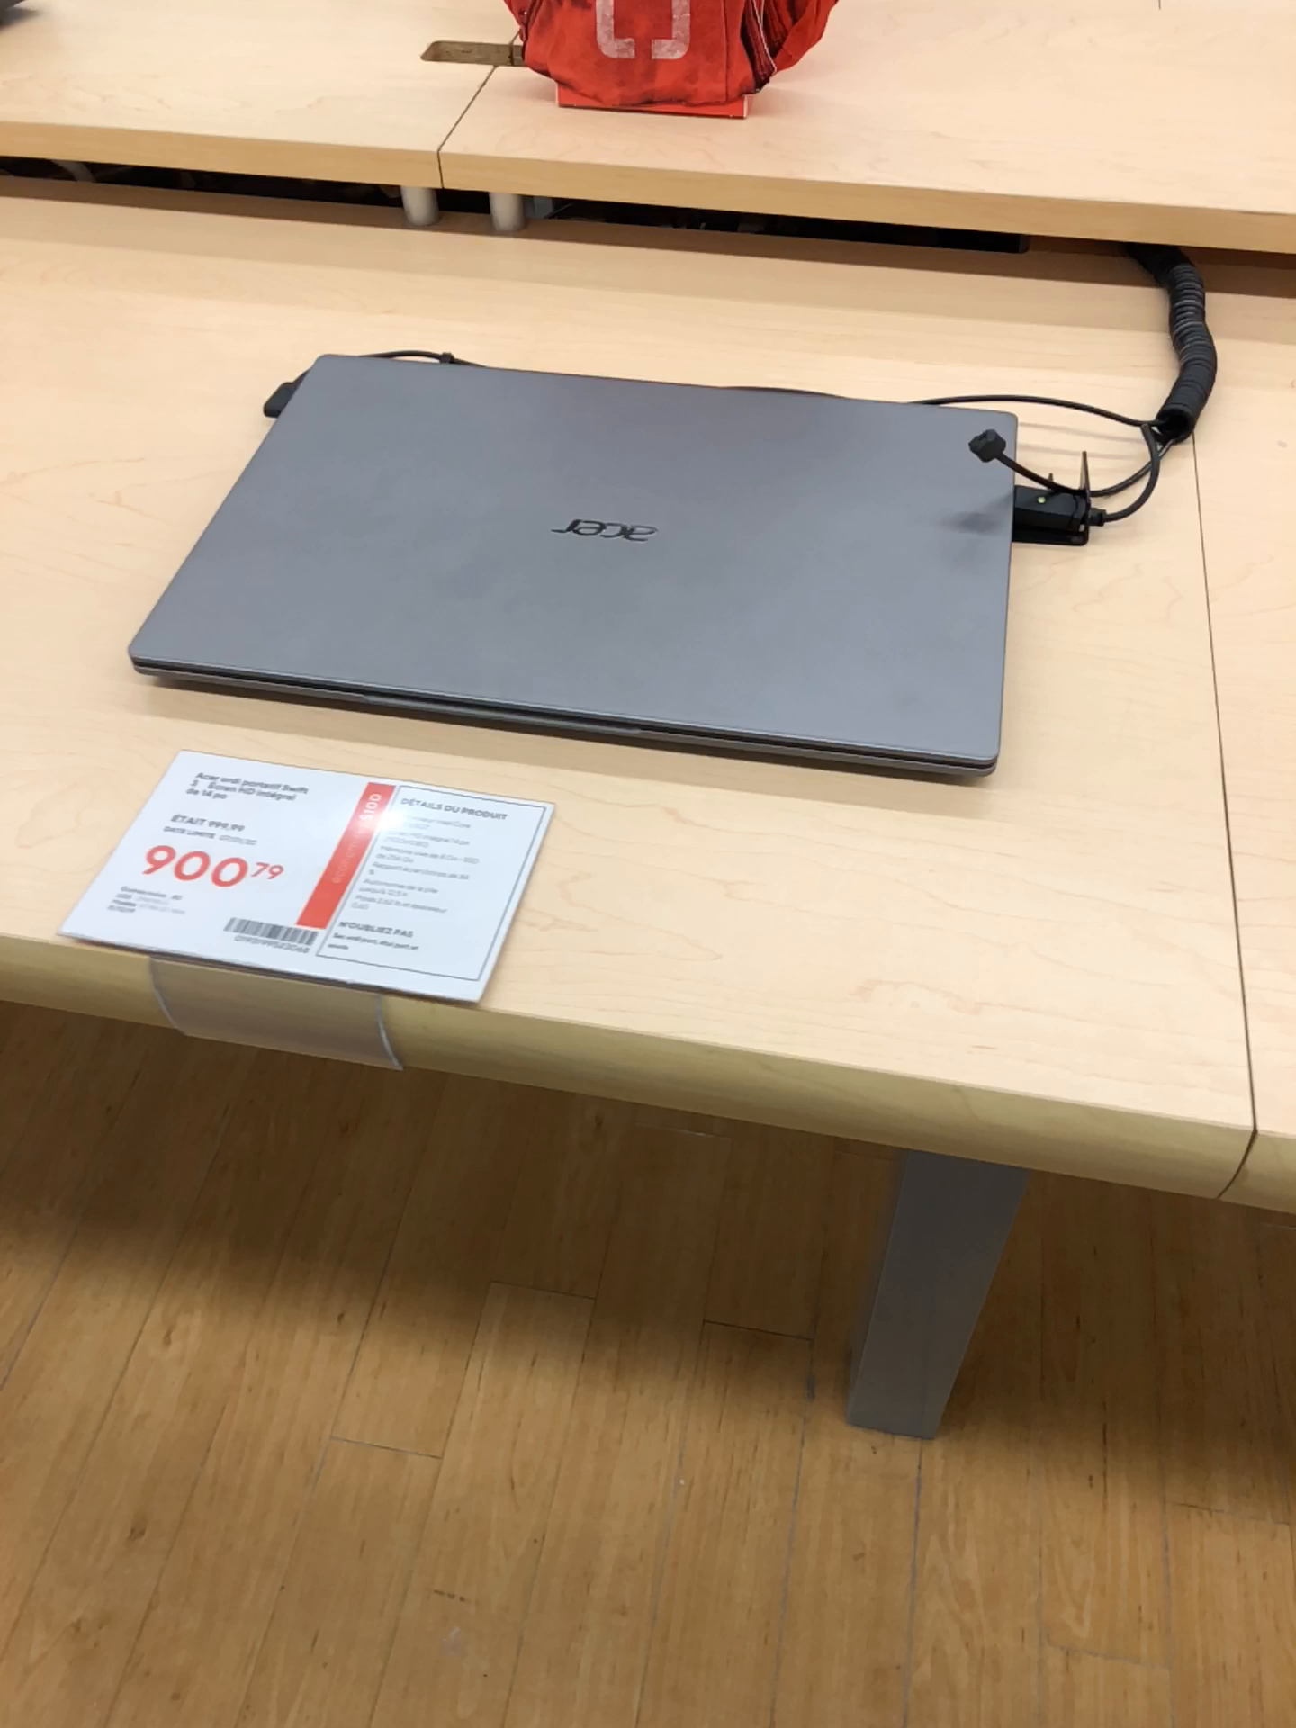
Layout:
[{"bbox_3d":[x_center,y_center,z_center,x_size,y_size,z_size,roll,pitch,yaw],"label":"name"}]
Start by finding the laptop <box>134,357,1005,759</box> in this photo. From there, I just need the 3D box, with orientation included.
[{"bbox_3d":[-0.018,-0.133,0.562,0.306,0.001,0.201,8,50,8],"label":"laptop"}]
